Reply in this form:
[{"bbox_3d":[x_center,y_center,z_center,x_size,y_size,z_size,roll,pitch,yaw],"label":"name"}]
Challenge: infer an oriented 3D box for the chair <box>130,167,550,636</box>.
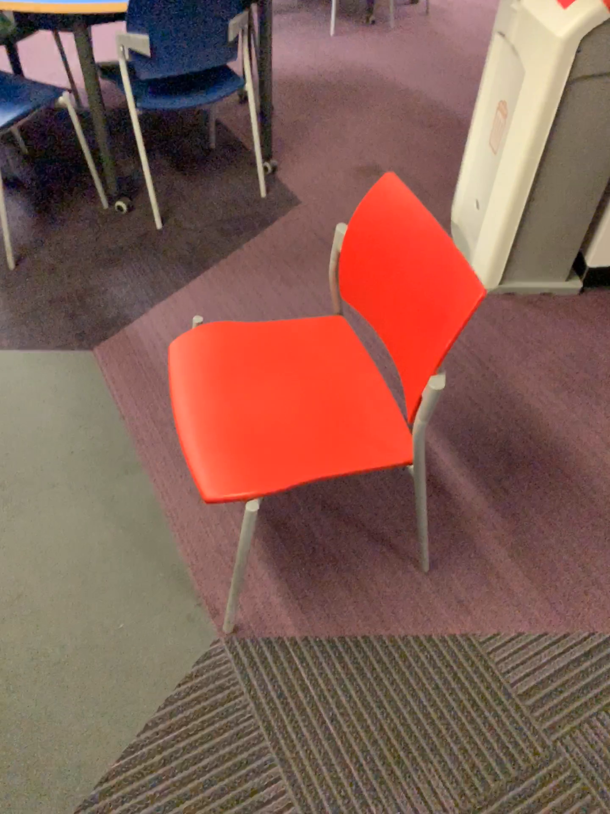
[{"bbox_3d":[0.004,-0.008,1.256,0.560,0.684,0.545,-9,46,-10],"label":"chair"}]
